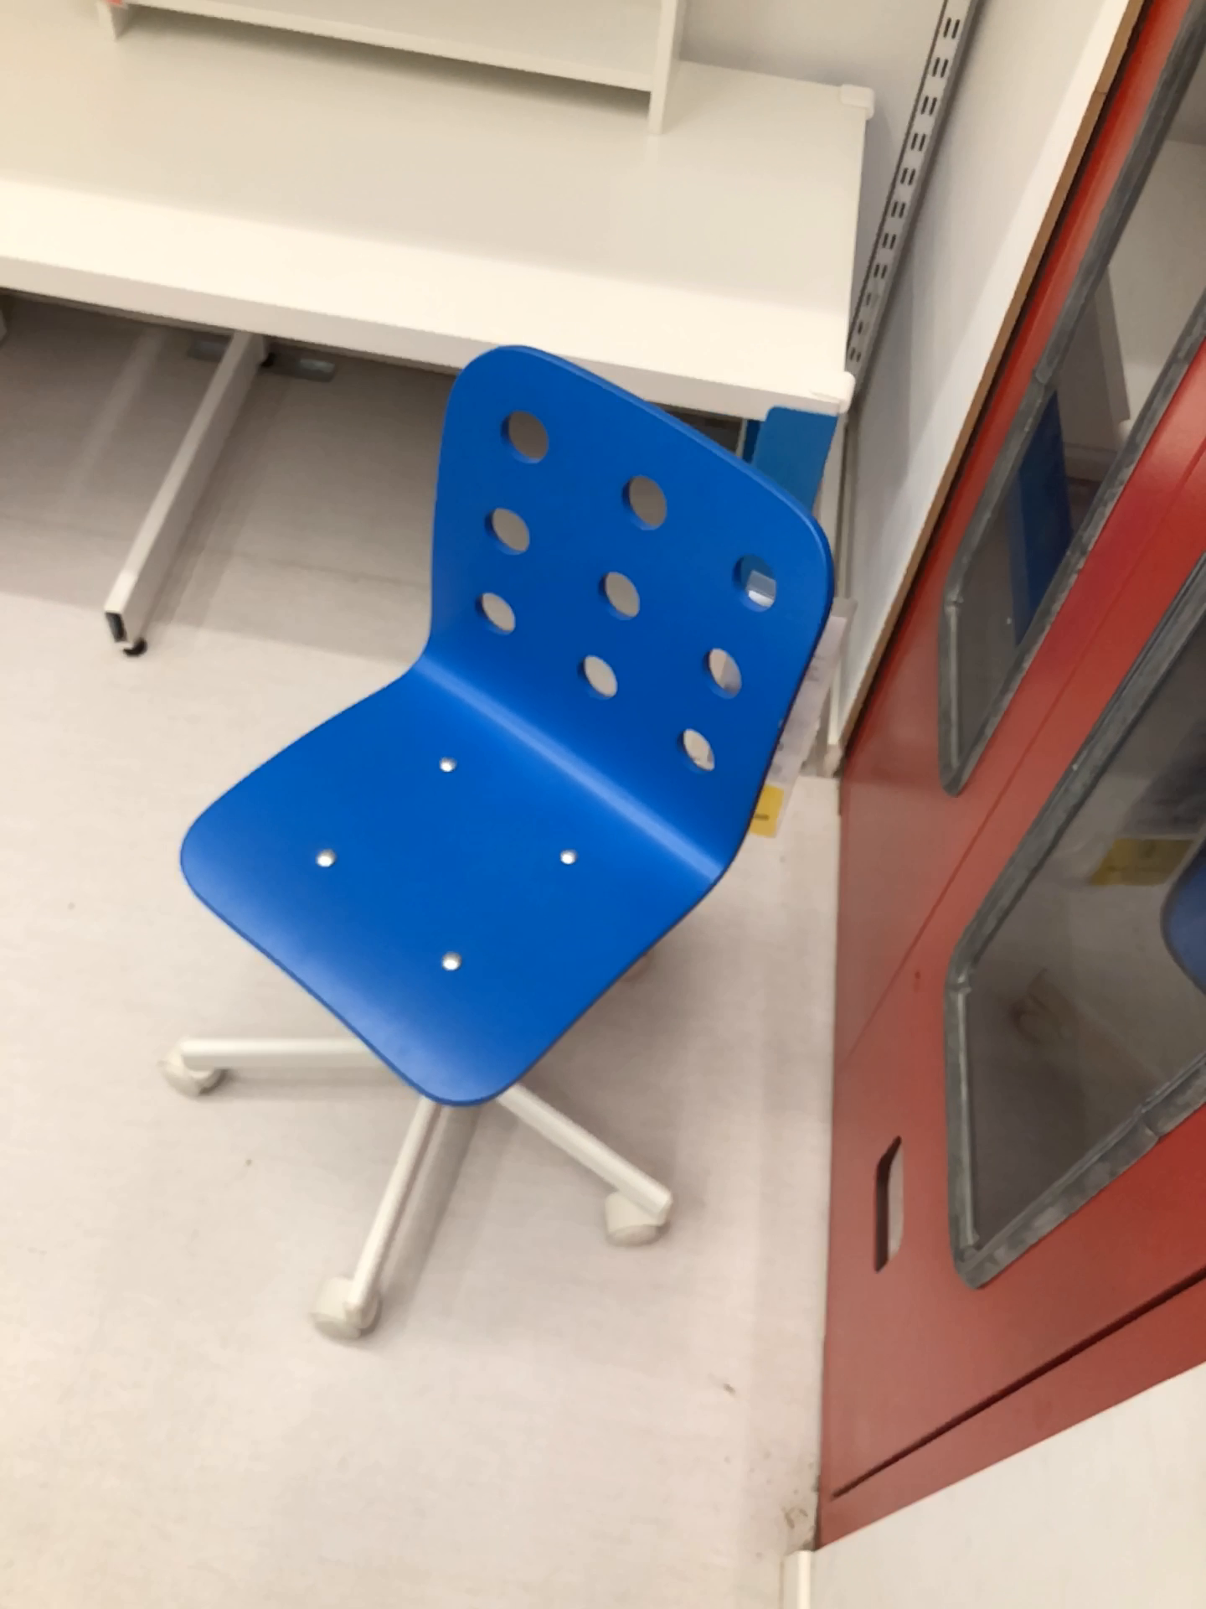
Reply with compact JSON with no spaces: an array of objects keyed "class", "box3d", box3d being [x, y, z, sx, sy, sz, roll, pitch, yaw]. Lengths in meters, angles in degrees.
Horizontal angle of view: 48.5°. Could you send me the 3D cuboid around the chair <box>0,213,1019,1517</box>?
[{"class":"chair","box3d":[-0.156,0.083,1.014,0.551,0.687,0.492,35,59,17]}]
